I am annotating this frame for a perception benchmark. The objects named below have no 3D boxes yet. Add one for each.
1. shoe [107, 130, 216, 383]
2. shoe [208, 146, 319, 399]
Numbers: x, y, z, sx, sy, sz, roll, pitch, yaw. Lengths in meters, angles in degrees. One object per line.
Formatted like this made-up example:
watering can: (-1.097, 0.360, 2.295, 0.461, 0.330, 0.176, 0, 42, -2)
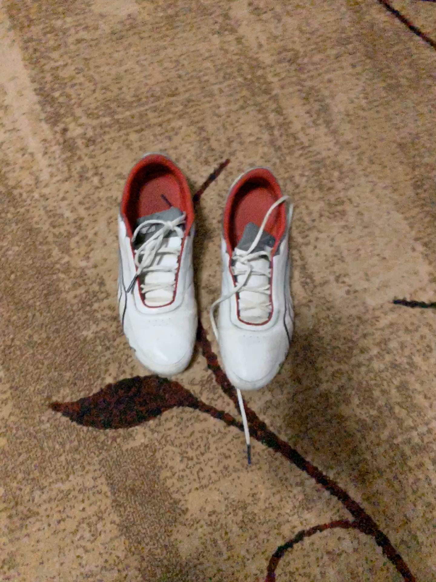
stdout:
shoe: (-0.068, -0.040, 0.530, 0.099, 0.070, 0.281, -5, 79, -6)
shoe: (0.054, -0.021, 0.536, 0.103, 0.070, 0.281, 6, 78, -3)
